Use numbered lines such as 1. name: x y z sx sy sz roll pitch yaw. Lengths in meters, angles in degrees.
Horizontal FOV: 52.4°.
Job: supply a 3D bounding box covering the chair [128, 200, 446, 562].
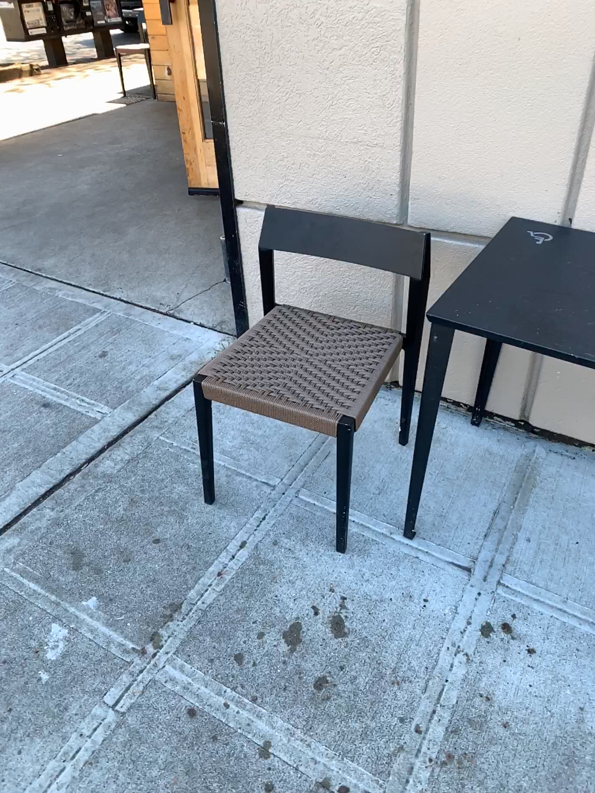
1. chair: 0.015 -0.075 1.598 0.551 0.666 0.553 14 39 22
